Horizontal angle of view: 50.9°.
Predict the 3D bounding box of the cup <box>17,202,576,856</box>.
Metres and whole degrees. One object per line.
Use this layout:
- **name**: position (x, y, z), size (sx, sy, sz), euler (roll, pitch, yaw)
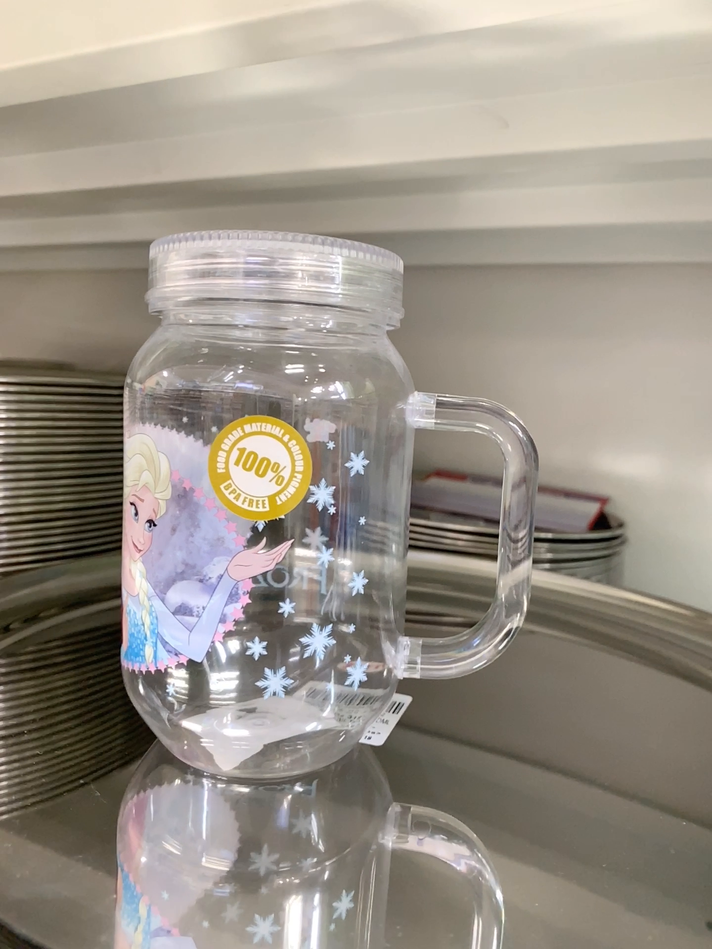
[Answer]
- **cup**: position (-0.012, 0.004, 0.195), size (0.120, 0.130, 0.070), euler (5, 6, 15)
